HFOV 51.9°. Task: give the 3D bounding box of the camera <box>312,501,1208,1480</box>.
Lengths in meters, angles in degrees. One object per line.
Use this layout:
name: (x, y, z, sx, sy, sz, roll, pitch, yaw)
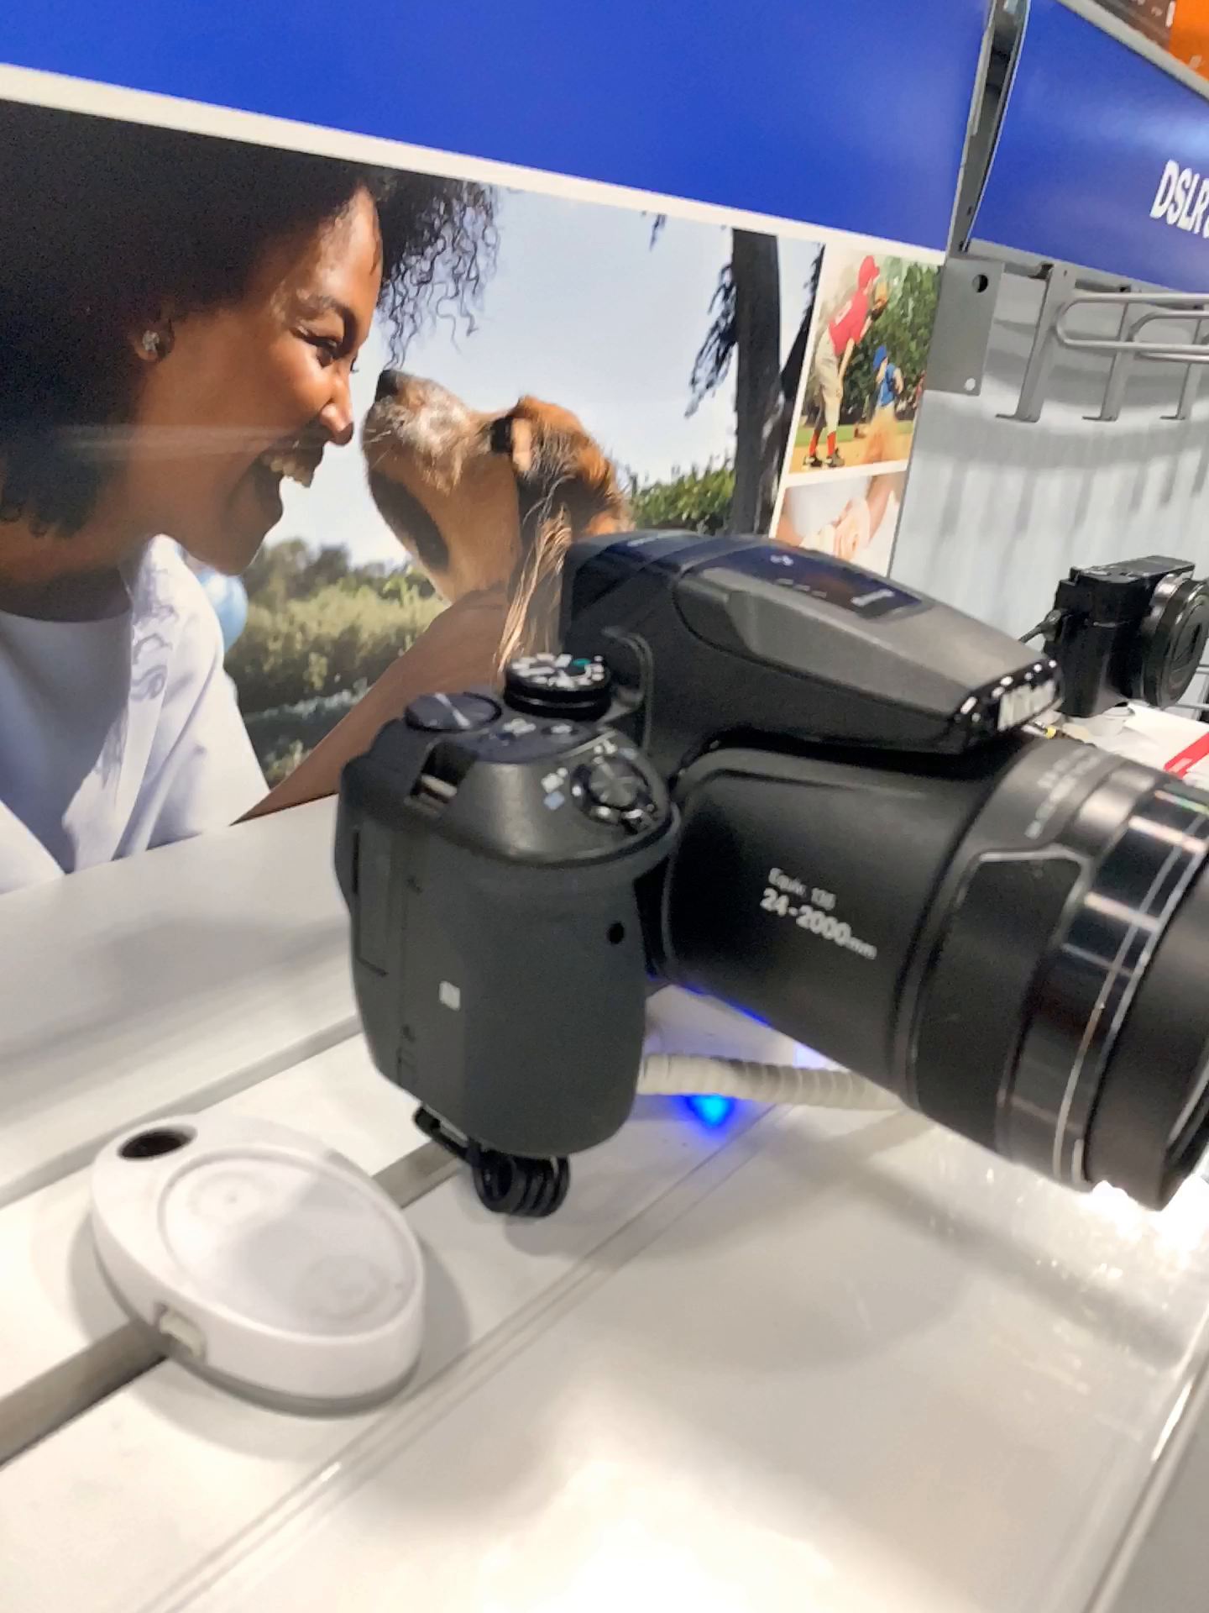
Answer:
camera: (0.048, 0.005, 0.244, 0.153, 0.100, 0.140, 20, 25, 35)
